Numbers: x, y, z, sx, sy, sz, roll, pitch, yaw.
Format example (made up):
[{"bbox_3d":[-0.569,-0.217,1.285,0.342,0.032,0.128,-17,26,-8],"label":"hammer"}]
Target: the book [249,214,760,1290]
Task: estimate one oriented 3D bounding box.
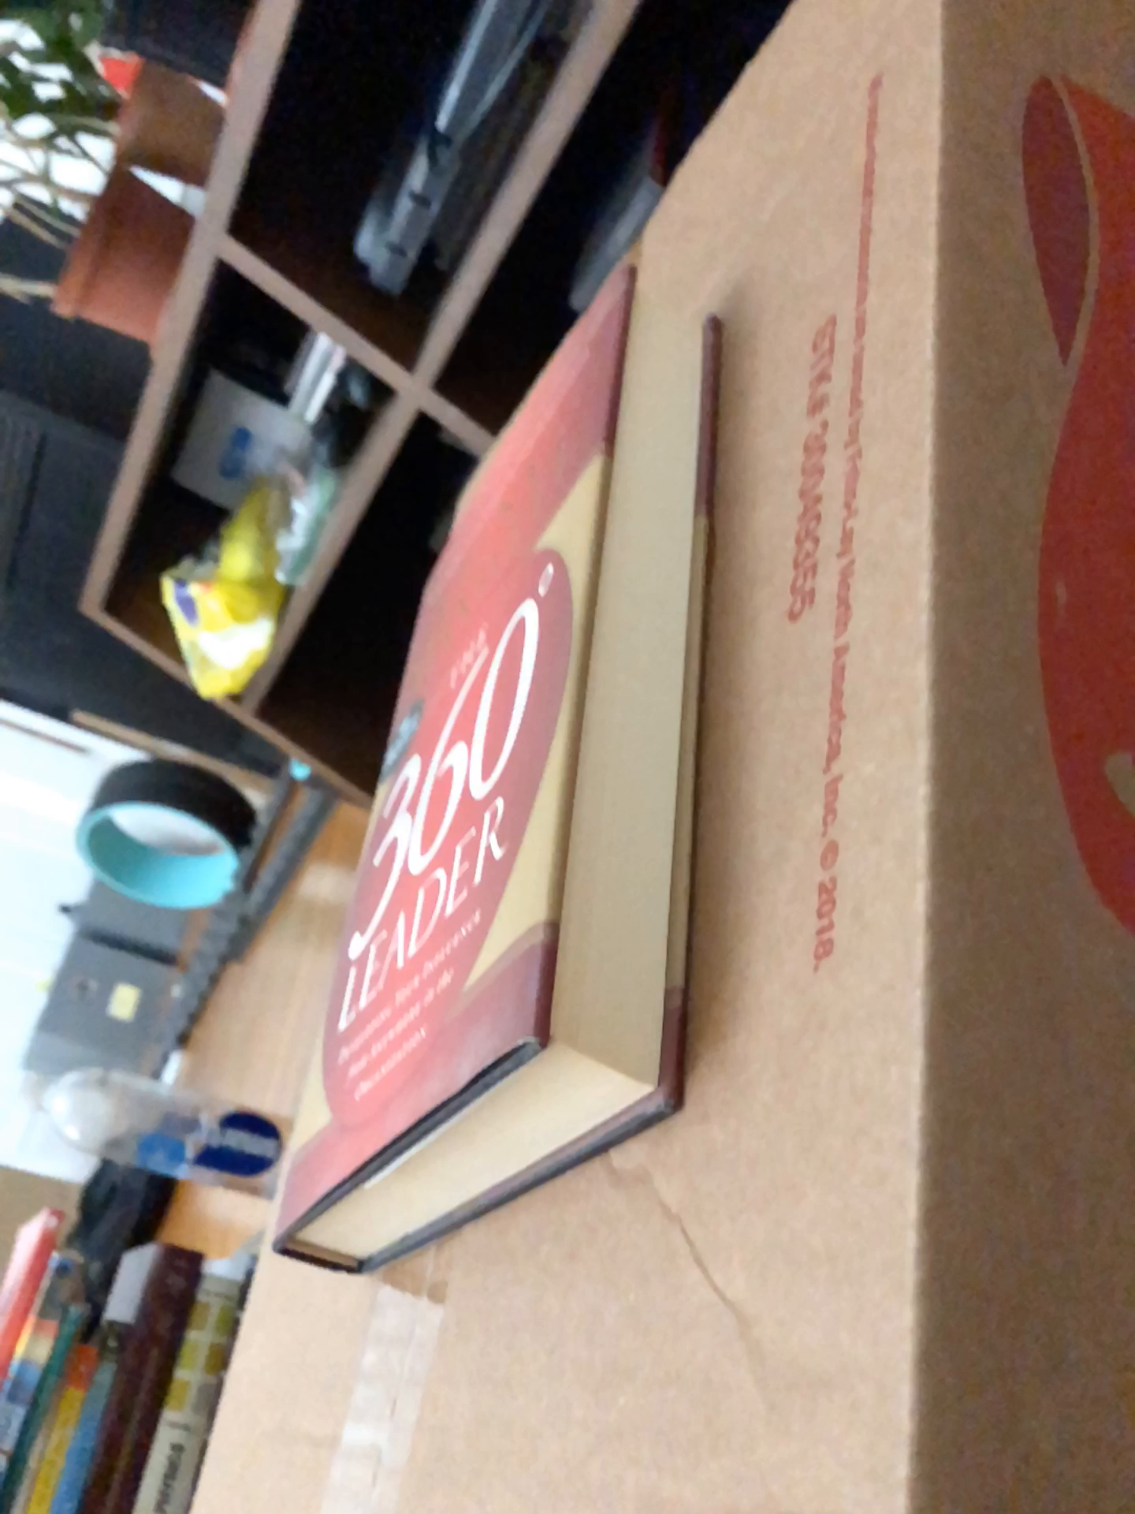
[{"bbox_3d":[-0.015,-0.001,0.339,0.180,0.030,0.241,-47,27,48],"label":"book"}]
